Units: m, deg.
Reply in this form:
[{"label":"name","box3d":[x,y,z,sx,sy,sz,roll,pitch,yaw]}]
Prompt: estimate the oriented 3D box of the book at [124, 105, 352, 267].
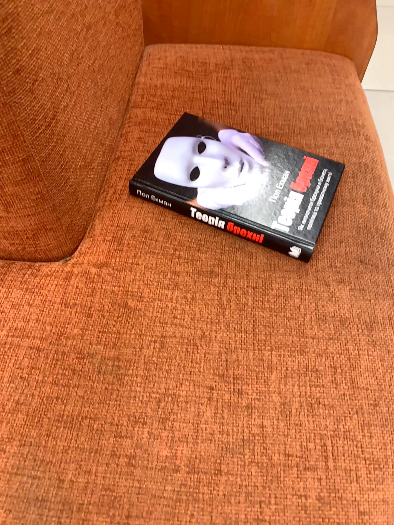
[{"label":"book","box3d":[0.049,-0.096,0.453,0.209,0.030,0.150,20,58,13]}]
